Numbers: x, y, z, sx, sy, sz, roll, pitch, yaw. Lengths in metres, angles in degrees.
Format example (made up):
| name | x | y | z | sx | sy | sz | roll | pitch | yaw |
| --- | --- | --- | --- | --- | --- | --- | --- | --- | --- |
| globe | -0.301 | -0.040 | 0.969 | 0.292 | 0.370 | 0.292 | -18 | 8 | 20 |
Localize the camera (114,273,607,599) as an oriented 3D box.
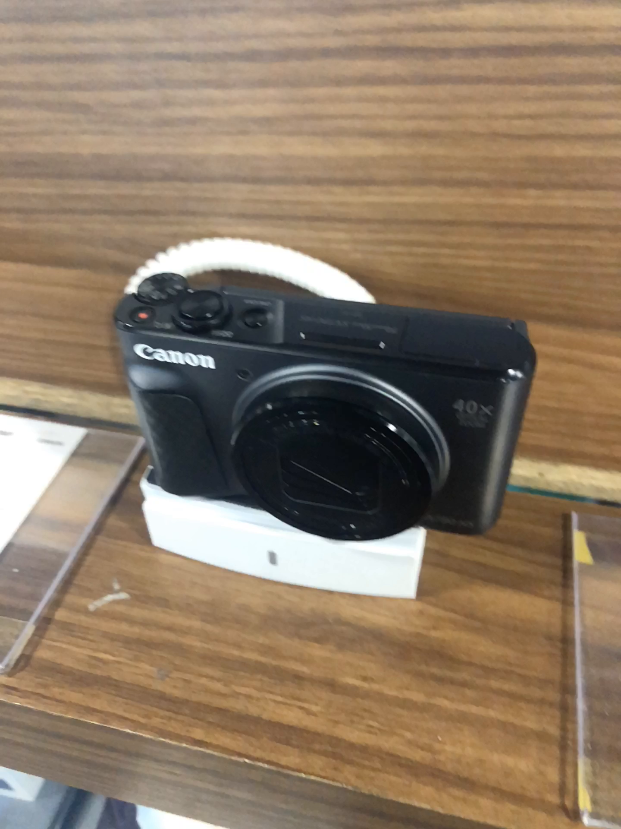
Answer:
| name | x | y | z | sx | sy | sz | roll | pitch | yaw |
| --- | --- | --- | --- | --- | --- | --- | --- | --- | --- |
| camera | 0.013 | 0.005 | 0.186 | 0.109 | 0.063 | 0.037 | 9 | 45 | 12 |
